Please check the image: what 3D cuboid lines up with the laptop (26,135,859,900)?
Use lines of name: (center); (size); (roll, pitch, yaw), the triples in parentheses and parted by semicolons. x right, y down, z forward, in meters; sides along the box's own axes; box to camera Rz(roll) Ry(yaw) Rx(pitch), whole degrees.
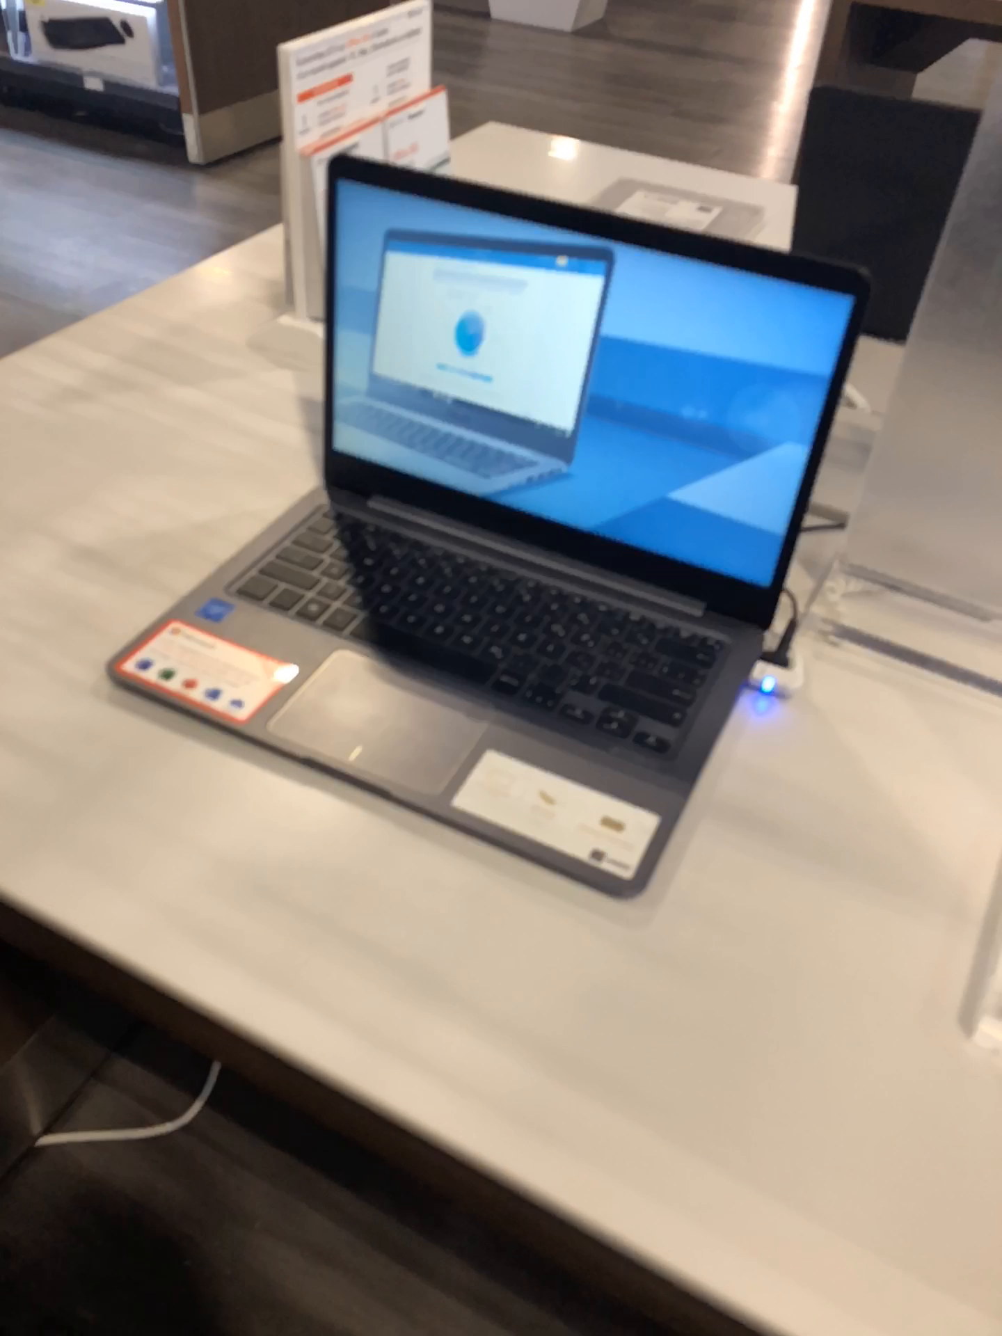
laptop: (-0.015, -0.113, 0.610); (0.333, 0.180, 0.301); (20, 49, 16)
